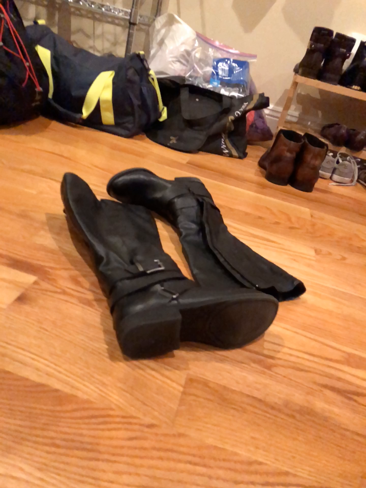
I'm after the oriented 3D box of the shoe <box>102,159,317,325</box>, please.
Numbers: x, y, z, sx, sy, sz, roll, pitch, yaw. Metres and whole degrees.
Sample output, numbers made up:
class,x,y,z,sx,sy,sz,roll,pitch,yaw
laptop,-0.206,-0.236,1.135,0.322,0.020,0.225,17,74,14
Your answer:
class,x,y,z,sx,sy,sz,roll,pitch,yaw
shoe,0.013,-0.027,0.724,0.250,0.094,0.395,2,30,-23

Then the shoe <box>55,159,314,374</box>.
class,x,y,z,sx,sy,sz,roll,pitch,yaw
shoe,-0.038,0.001,0.648,0.291,0.104,0.405,2,31,-24
